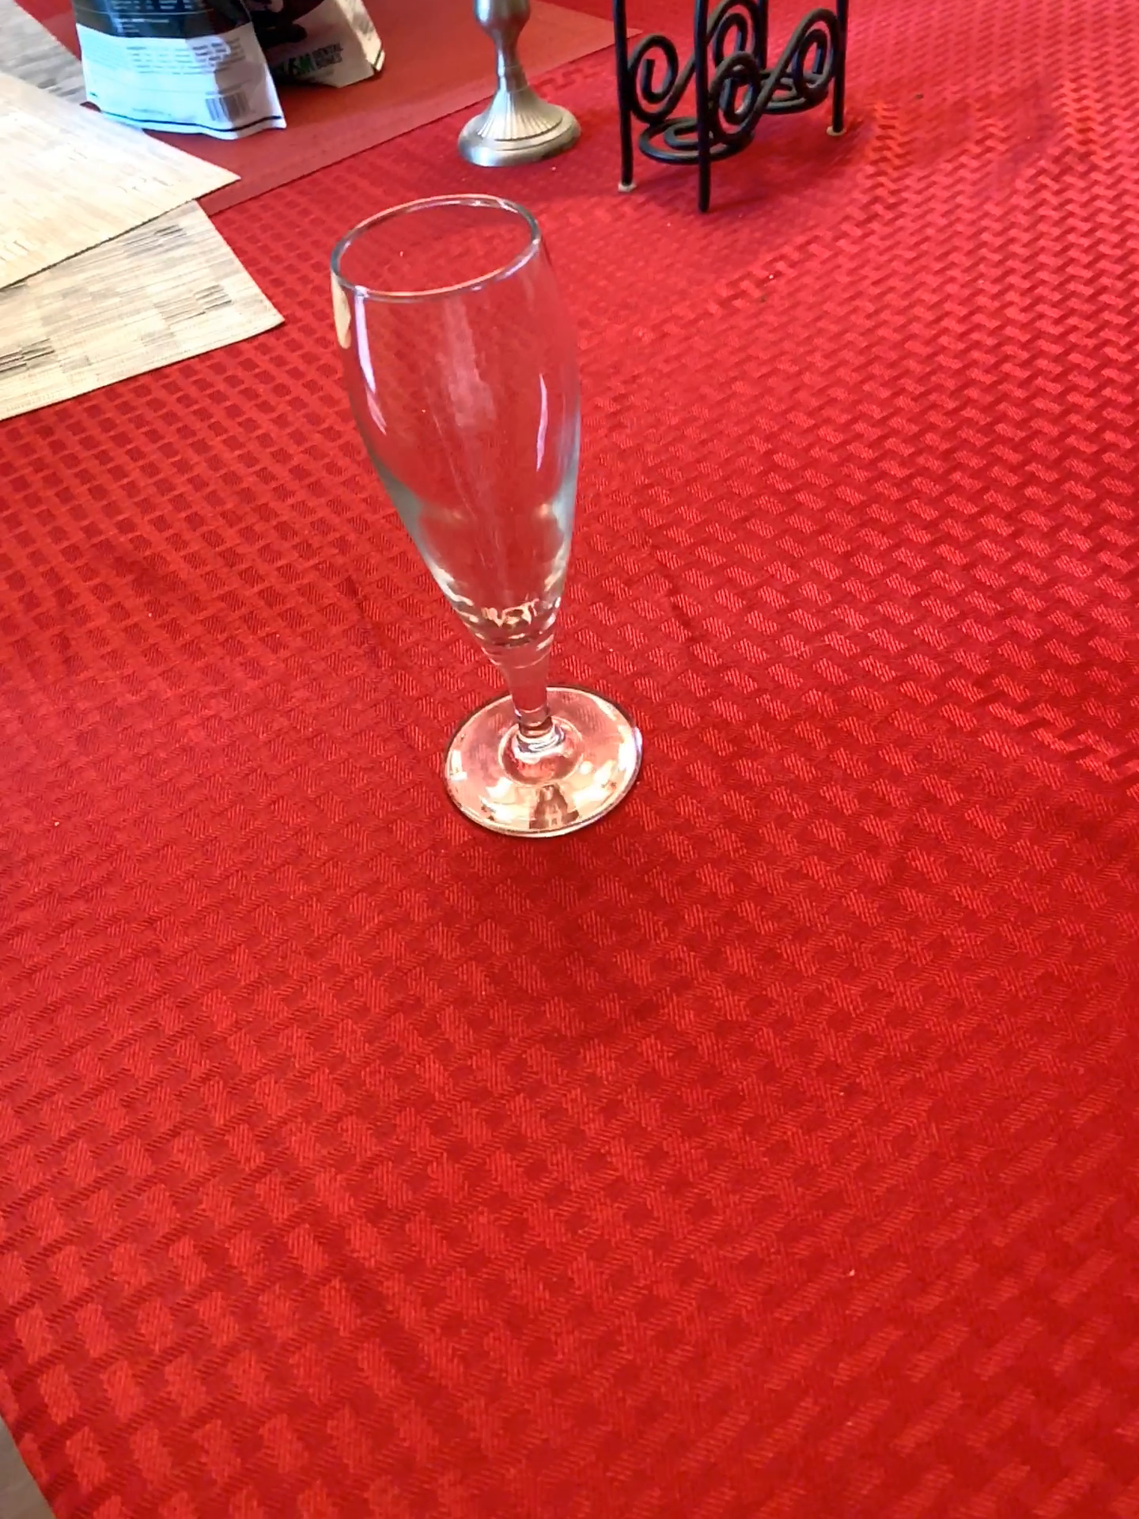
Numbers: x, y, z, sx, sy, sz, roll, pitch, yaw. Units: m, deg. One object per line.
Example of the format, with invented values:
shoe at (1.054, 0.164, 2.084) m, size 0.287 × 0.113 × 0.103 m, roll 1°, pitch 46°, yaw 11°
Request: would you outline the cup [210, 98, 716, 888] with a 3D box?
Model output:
cup at (-0.018, -0.062, 0.321) m, size 0.080 × 0.179 × 0.080 m, roll -5°, pitch 49°, yaw 5°
